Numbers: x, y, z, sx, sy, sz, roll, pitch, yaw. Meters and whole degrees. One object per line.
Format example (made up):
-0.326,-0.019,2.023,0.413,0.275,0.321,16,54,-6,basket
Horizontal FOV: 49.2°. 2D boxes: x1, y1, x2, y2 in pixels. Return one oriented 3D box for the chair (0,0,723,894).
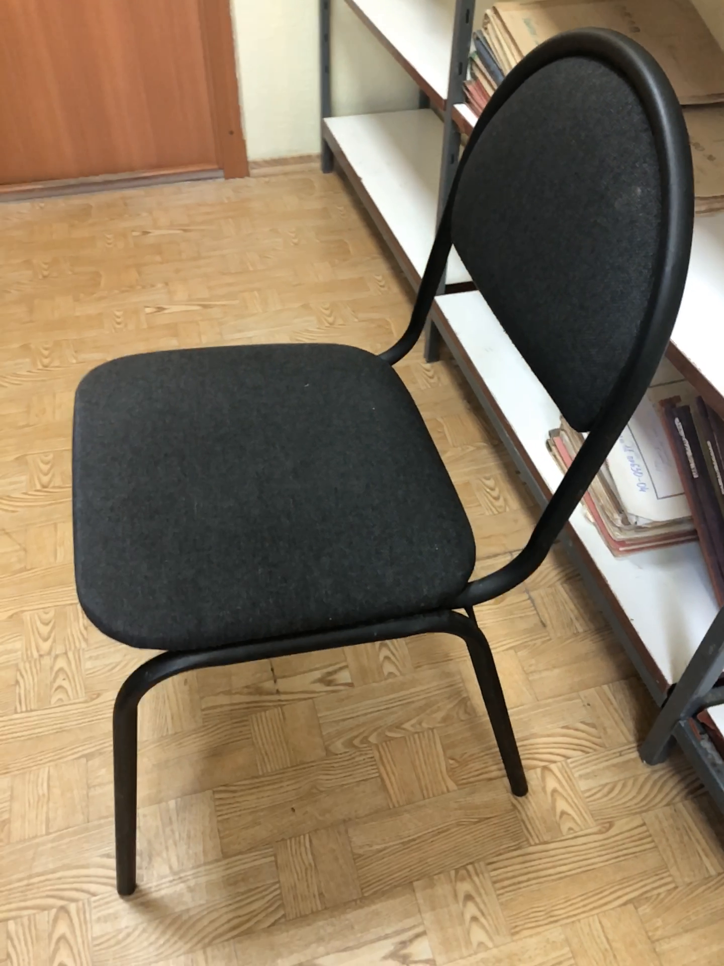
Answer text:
-0.078,-0.014,0.860,0.560,0.835,0.475,-9,46,-10,chair
